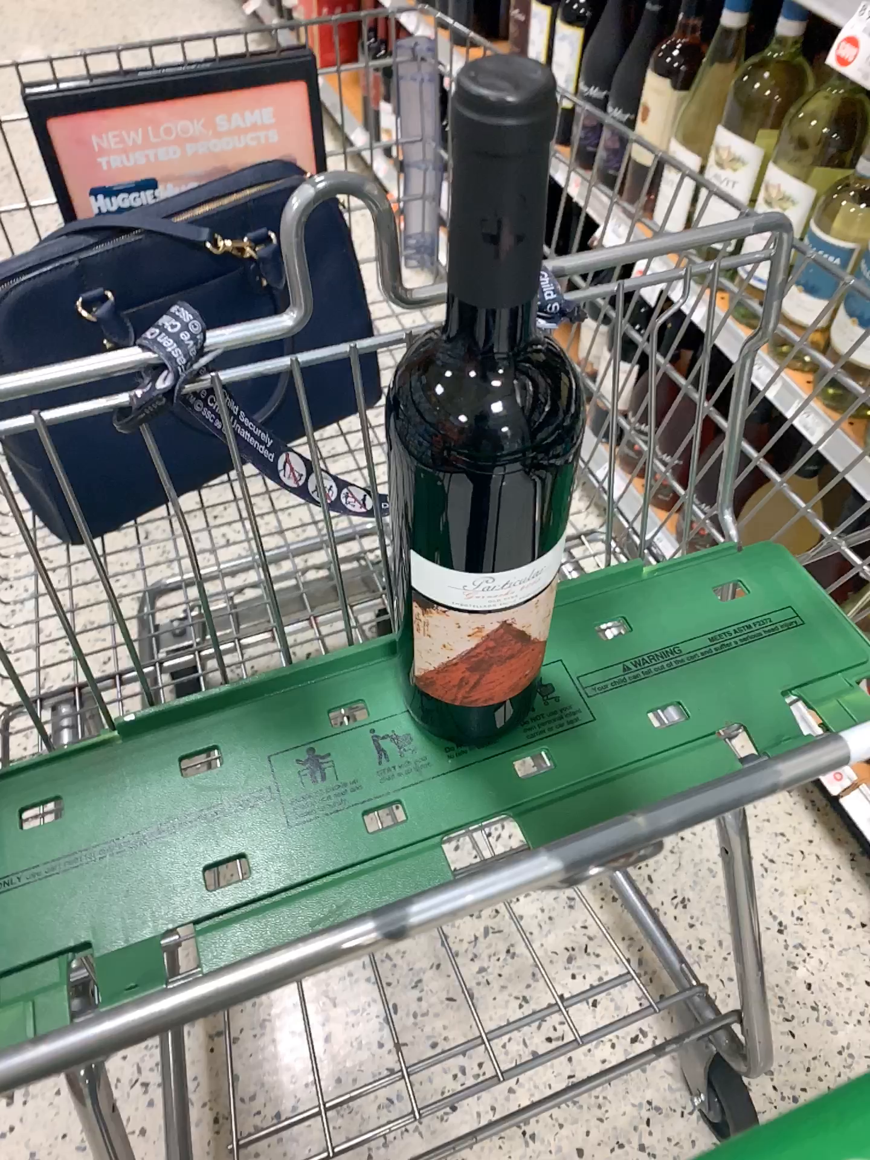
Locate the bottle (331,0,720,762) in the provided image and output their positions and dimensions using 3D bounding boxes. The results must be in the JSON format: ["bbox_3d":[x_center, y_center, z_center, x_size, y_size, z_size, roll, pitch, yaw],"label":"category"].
[{"bbox_3d":[0.020,-0.044,0.353,0.080,0.297,0.081,0,51,0],"label":"bottle"}]
